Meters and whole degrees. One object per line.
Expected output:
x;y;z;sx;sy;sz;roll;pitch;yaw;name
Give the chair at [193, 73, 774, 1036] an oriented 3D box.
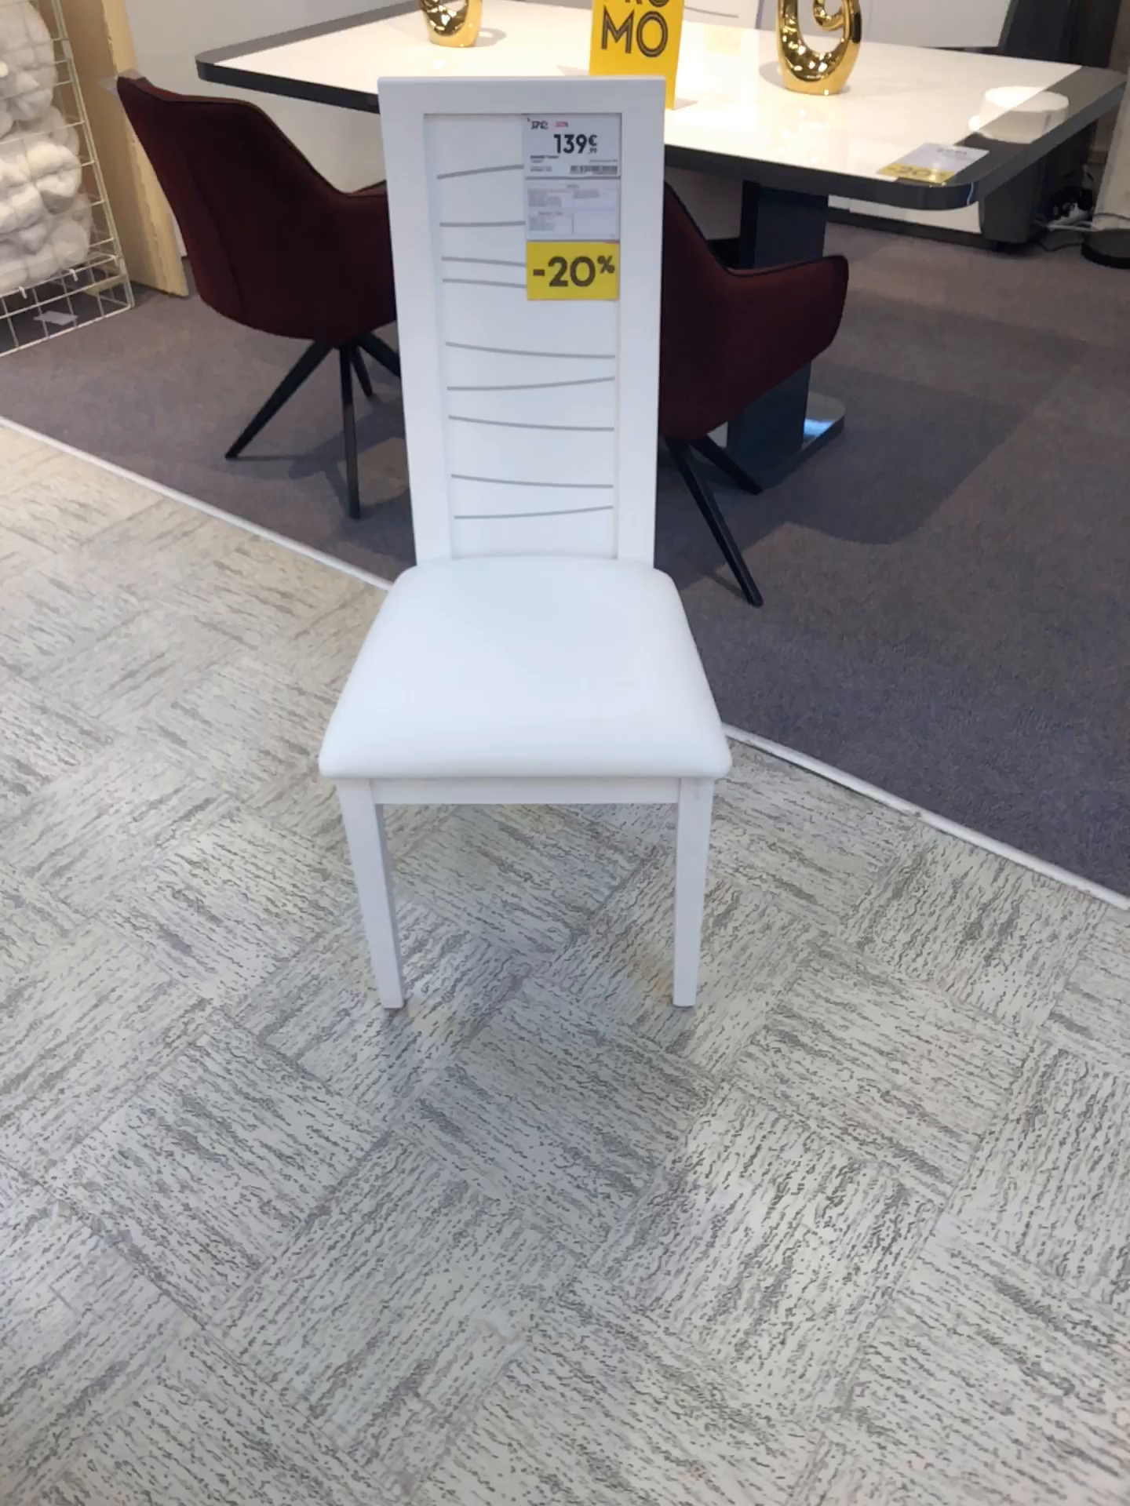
-0.054;-0.192;1.487;0.450;1.004;0.543;0;40;1;chair
